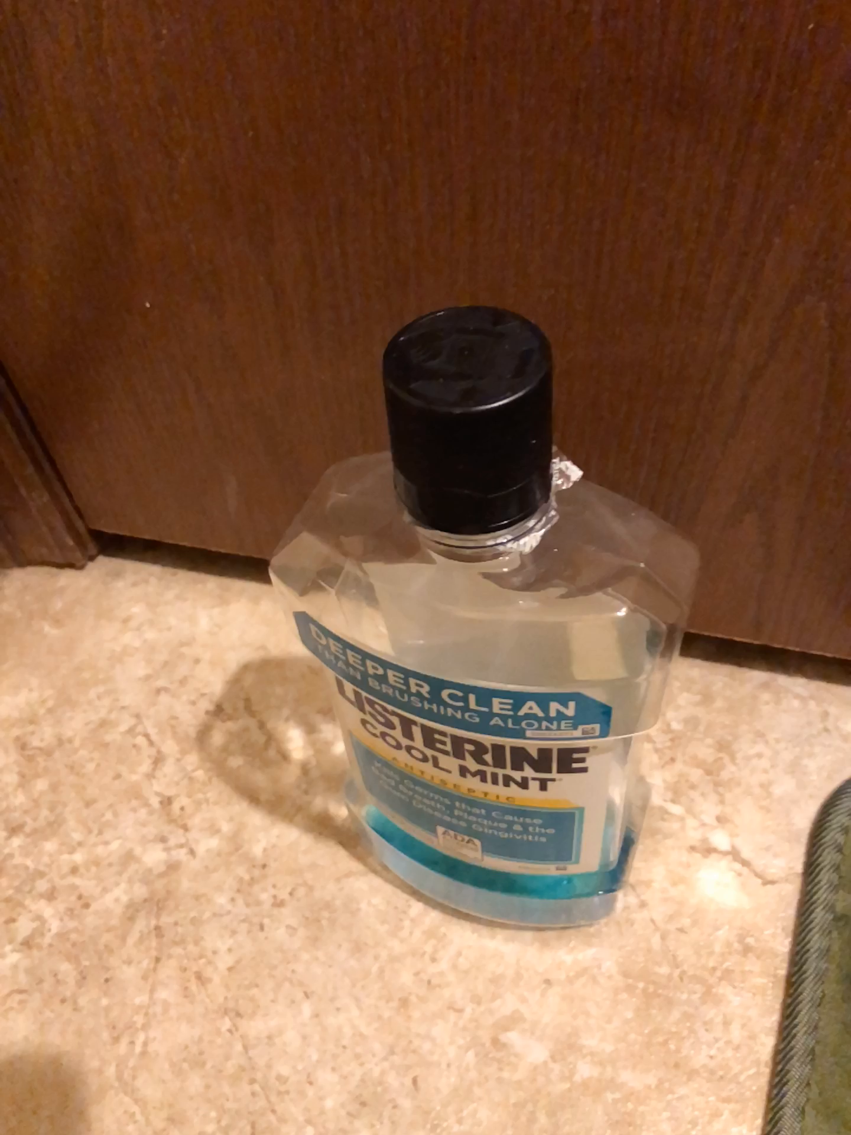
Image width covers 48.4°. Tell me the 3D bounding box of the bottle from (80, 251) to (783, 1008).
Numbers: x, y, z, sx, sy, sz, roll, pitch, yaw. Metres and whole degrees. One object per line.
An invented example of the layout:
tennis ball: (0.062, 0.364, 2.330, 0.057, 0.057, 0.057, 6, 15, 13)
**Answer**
bottle: (0.013, 0.034, 0.291, 0.130, 0.220, 0.090, 15, 53, 18)
